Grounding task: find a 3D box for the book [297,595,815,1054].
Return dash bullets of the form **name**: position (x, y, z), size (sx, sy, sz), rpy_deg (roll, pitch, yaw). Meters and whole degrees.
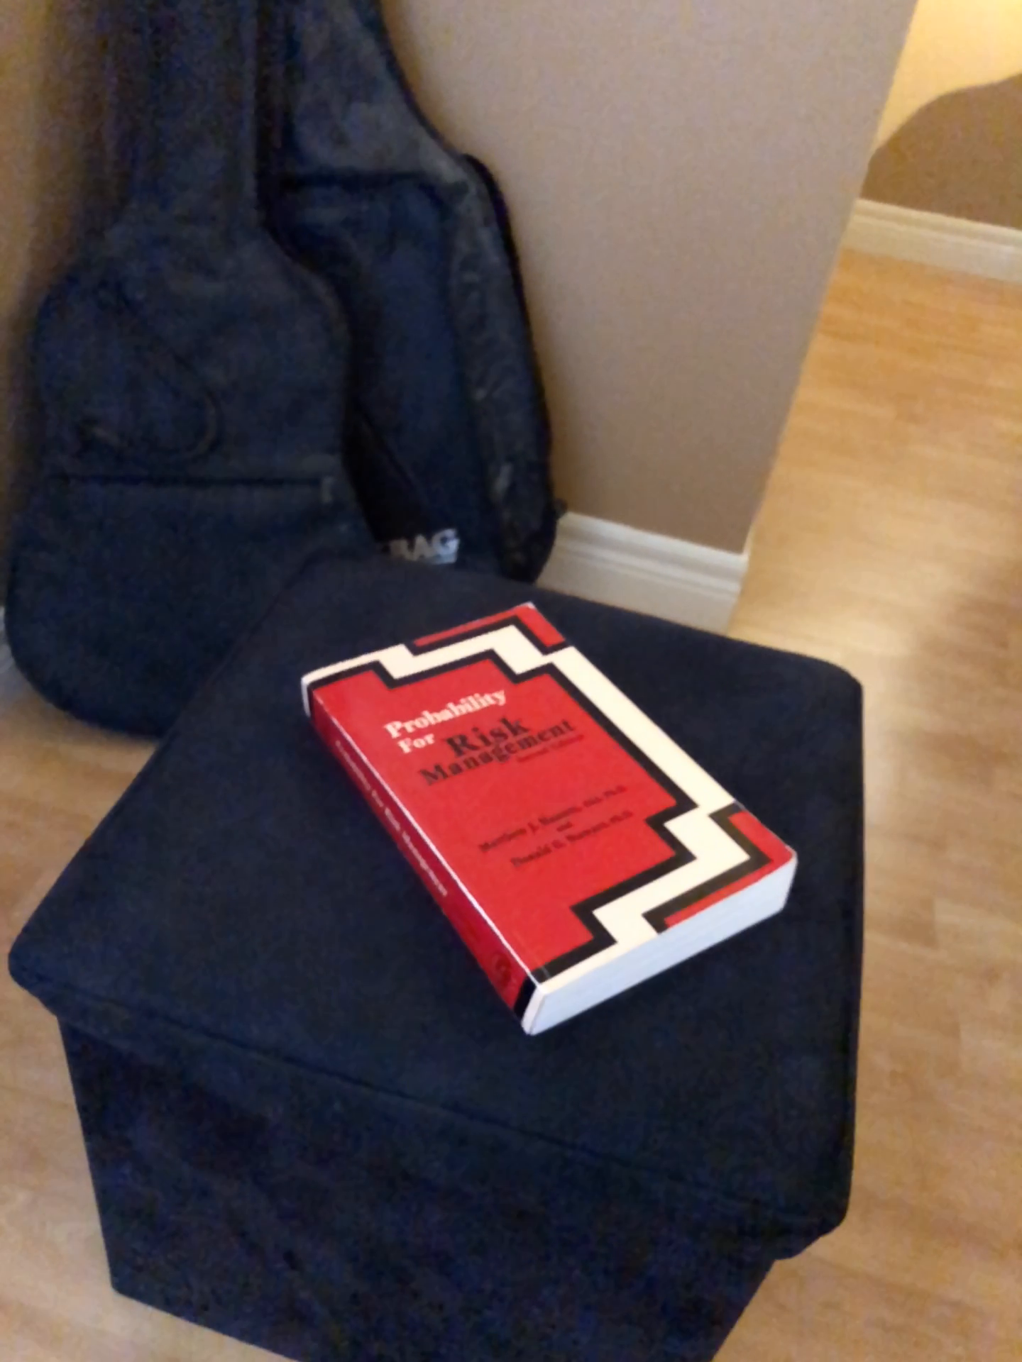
- **book**: position (0.012, 0.051, 0.547), size (0.150, 0.041, 0.216), rpy_deg (-18, 47, -29)
